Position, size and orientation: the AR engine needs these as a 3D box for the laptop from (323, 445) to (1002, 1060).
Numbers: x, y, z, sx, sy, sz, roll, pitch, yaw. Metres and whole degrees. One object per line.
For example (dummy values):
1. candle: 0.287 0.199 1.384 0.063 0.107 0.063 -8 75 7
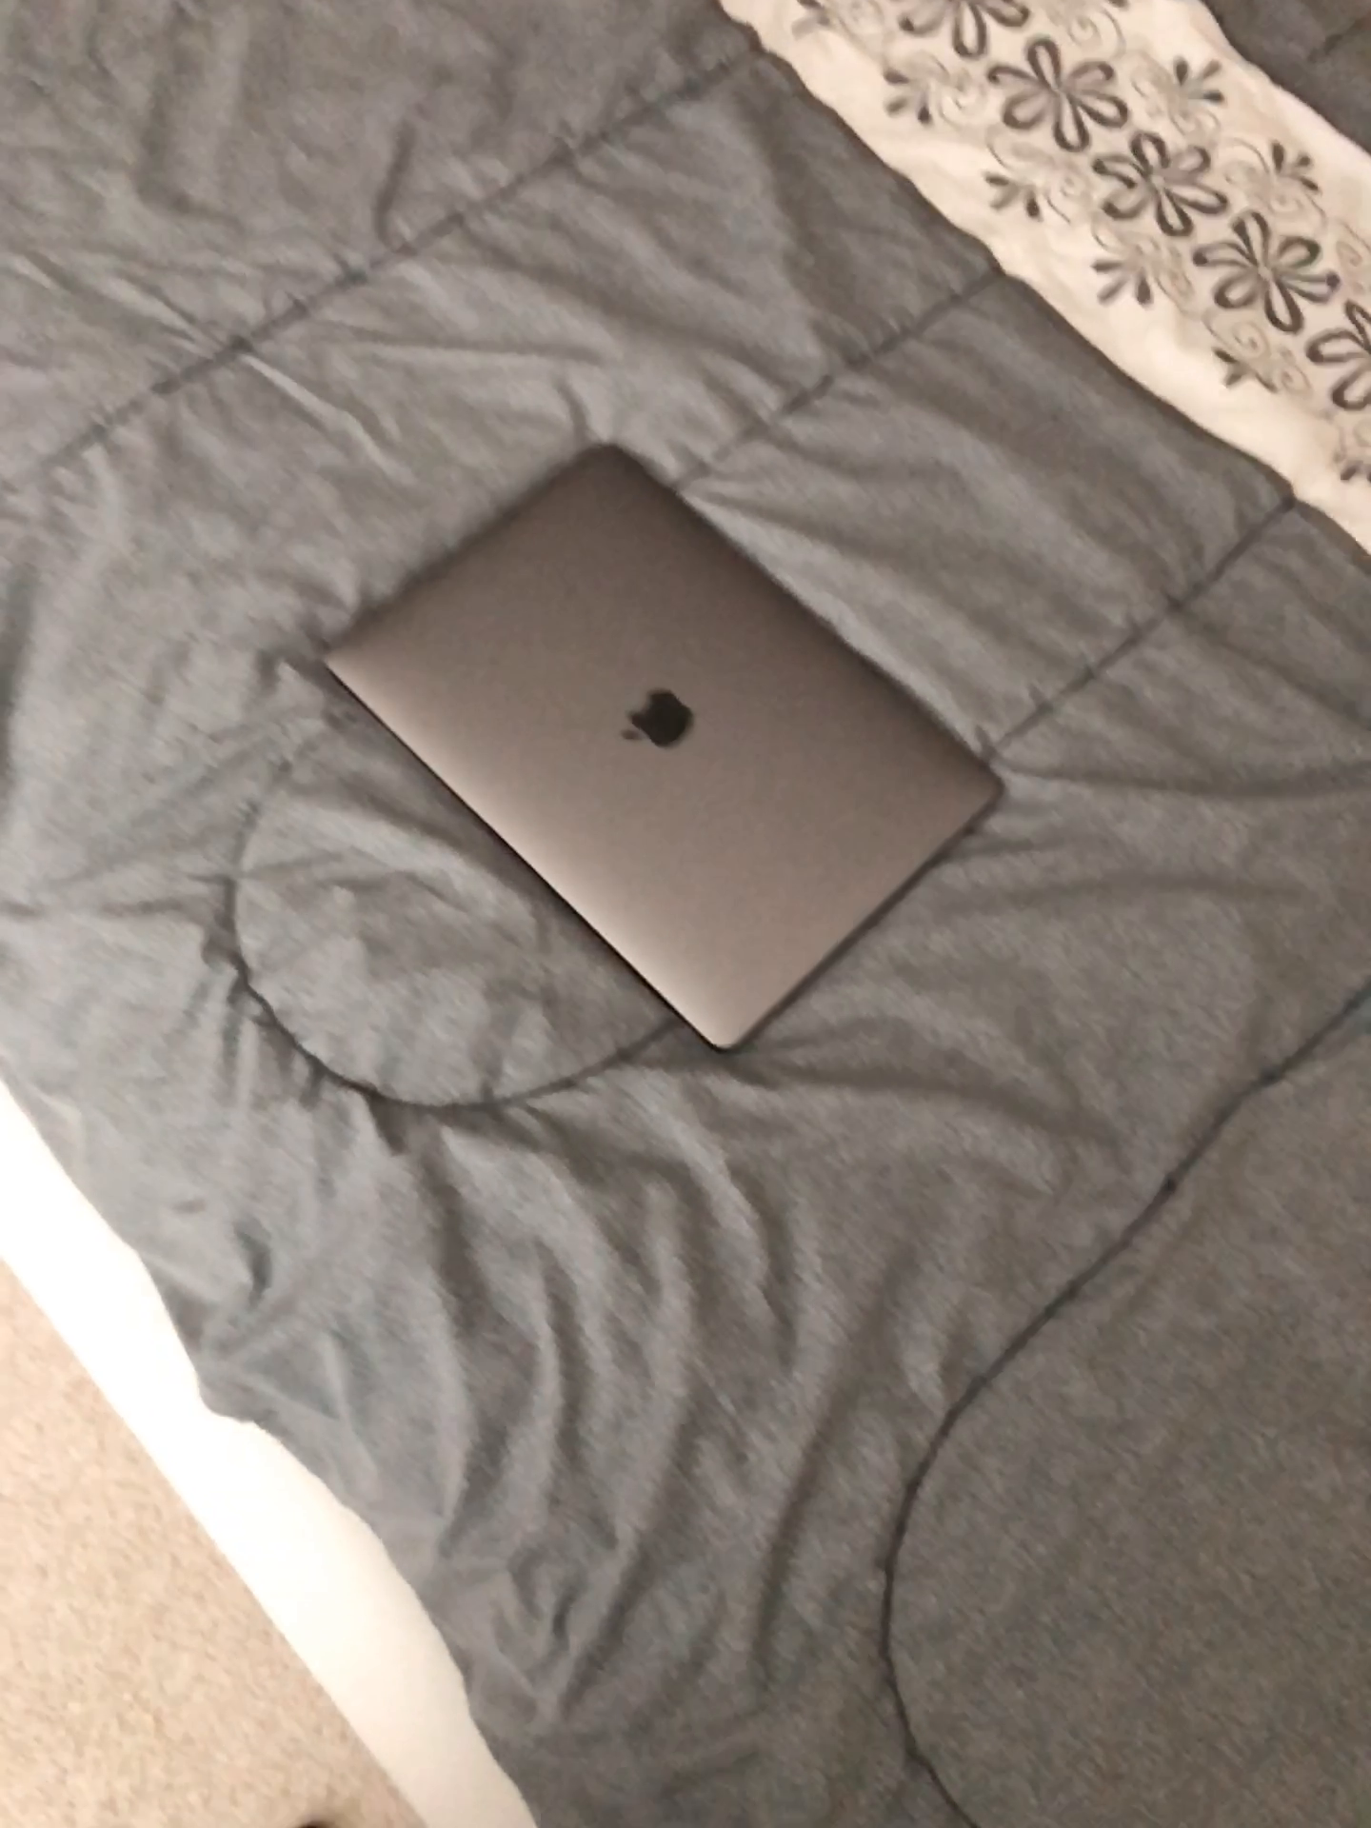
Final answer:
1. laptop: -0.013 -0.097 0.792 0.207 0.008 0.295 -42 76 -17
